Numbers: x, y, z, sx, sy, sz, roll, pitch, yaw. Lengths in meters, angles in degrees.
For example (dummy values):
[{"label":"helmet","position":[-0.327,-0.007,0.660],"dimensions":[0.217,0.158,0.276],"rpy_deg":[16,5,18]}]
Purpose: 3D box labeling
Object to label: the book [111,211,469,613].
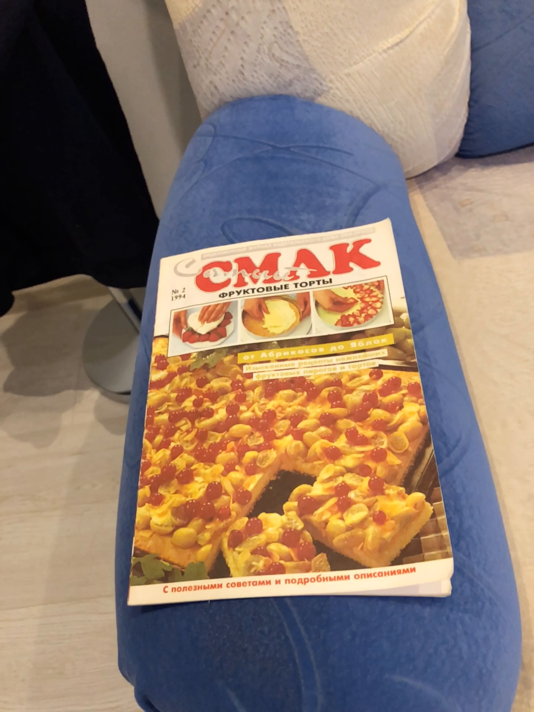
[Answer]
[{"label":"book","position":[0.005,0.018,0.345],"dimensions":[0.171,0.010,0.236],"rpy_deg":[-8,57,10]}]
